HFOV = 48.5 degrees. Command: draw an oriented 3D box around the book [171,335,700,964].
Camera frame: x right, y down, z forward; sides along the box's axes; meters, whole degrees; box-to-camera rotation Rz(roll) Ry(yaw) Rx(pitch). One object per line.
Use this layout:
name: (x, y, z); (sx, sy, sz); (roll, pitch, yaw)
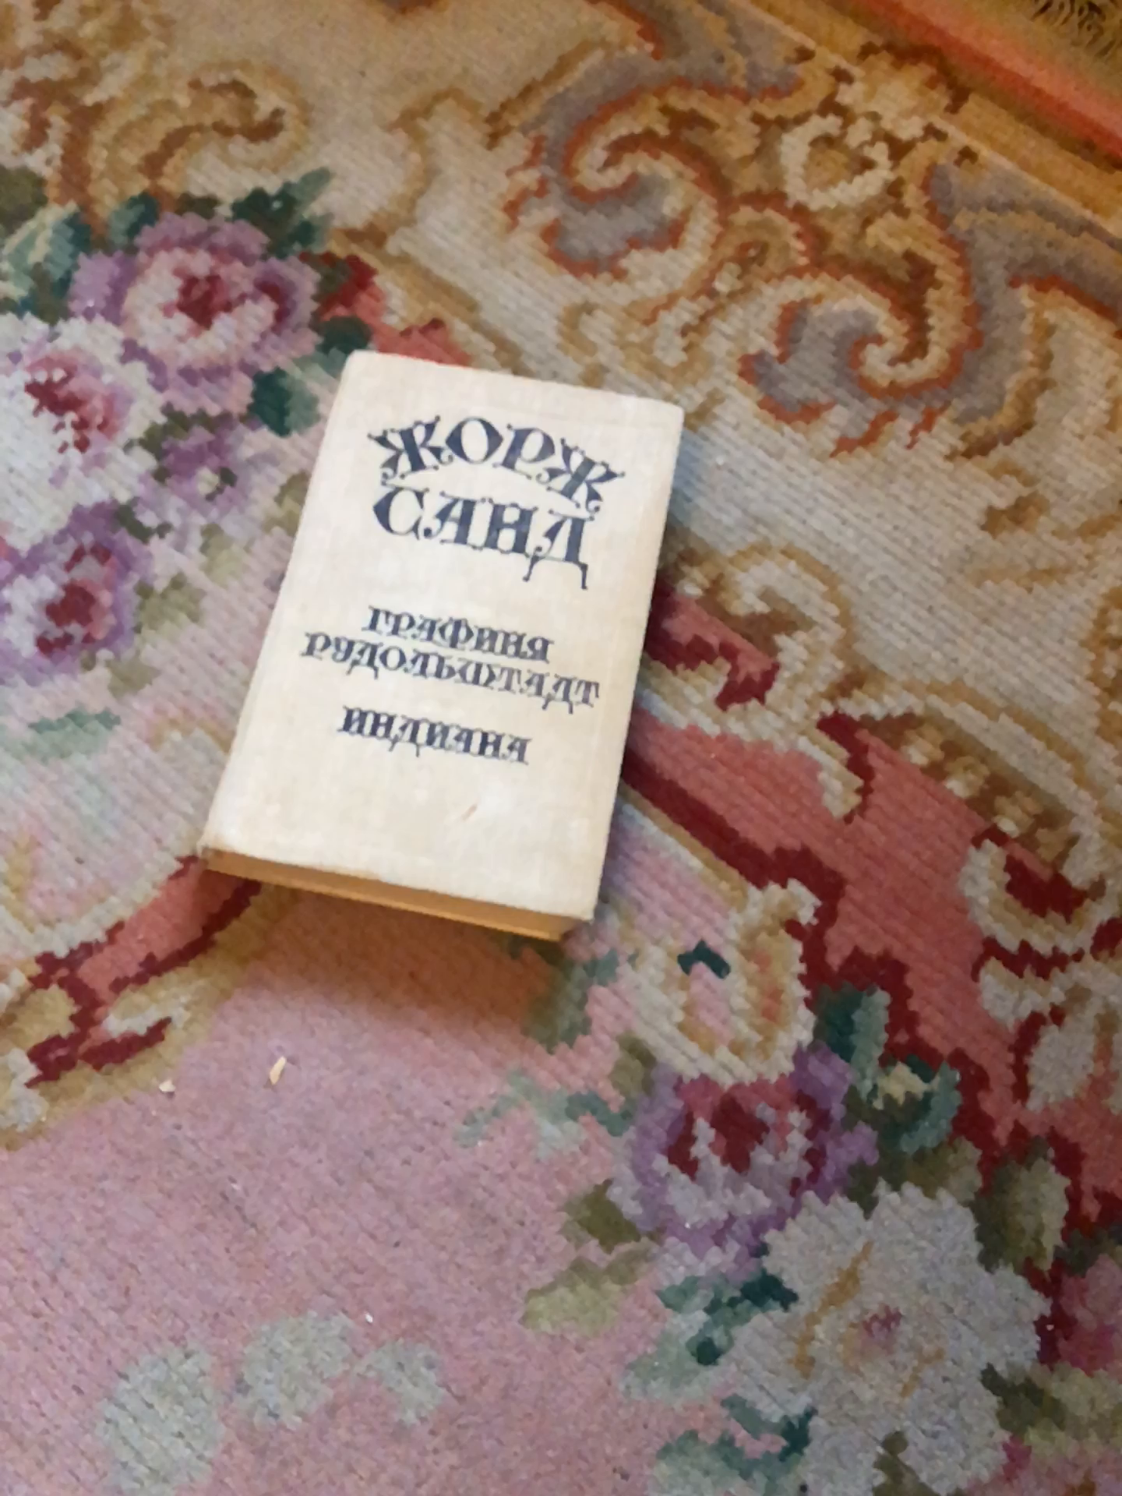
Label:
book: (-0.040, -0.043, 0.490); (0.150, 0.057, 0.220); (11, 69, 3)
